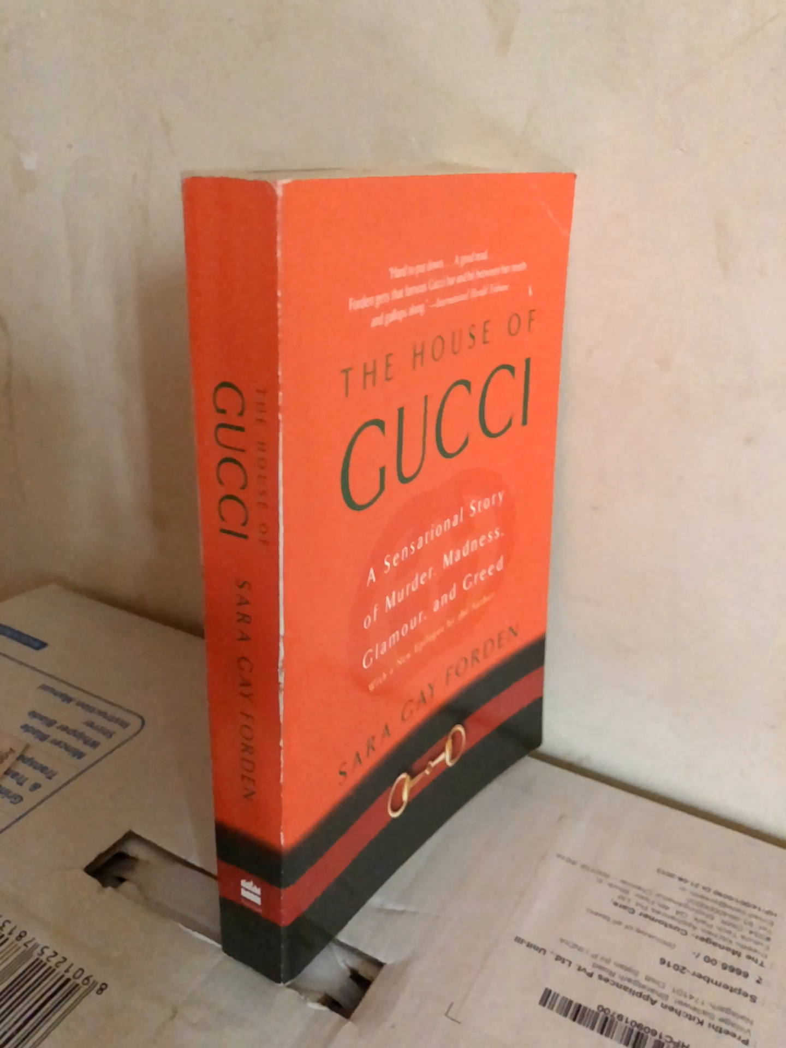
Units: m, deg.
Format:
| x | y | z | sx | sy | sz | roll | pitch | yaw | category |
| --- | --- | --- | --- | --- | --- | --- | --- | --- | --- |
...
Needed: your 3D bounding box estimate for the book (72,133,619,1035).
| x | y | z | sx | sy | sz | roll | pitch | yaw | category |
| --- | --- | --- | --- | --- | --- | --- | --- | --- | --- |
| 0.004 | 0.002 | 0.282 | 0.040 | 0.229 | 0.191 | 17 | 30 | 29 | book |
